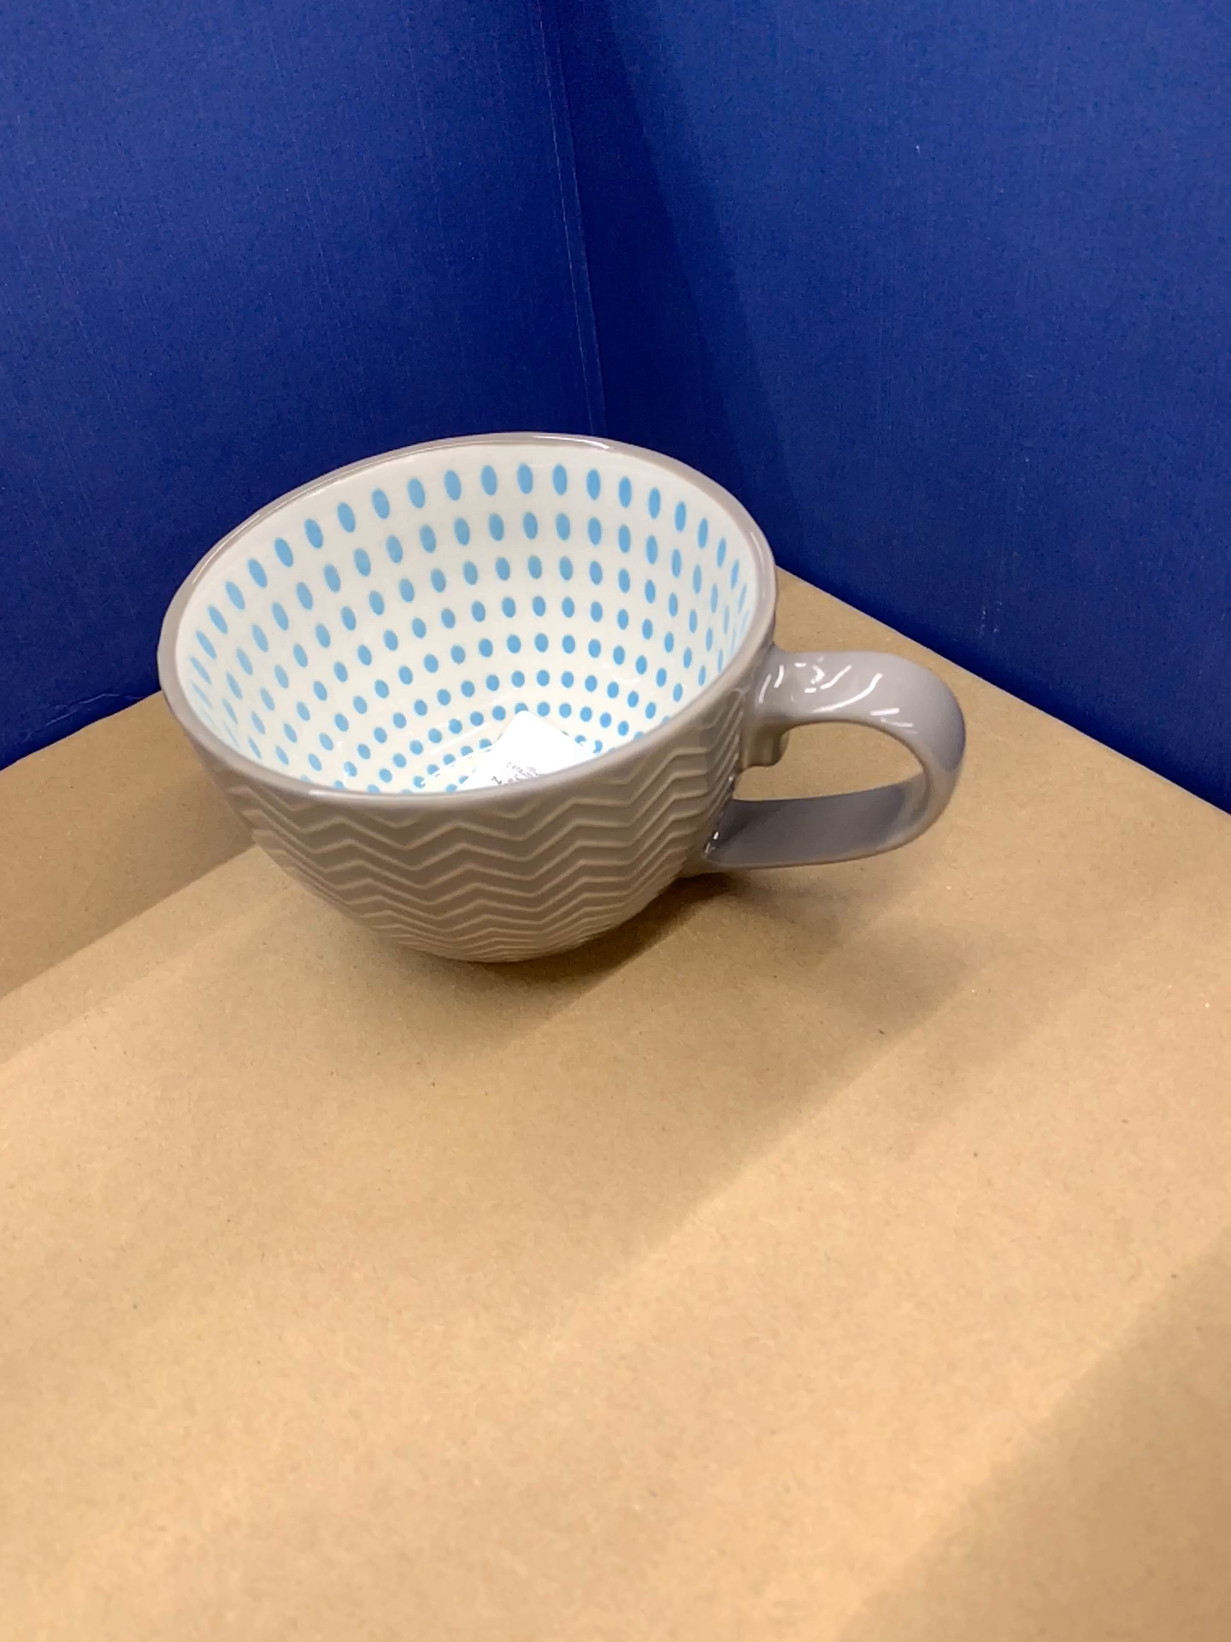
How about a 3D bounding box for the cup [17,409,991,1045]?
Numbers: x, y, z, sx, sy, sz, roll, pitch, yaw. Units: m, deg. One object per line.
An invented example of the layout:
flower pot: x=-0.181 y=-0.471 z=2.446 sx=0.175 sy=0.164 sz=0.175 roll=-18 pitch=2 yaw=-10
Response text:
cup: x=-0.009 y=-0.027 z=0.244 sx=0.150 sy=0.058 sz=0.109 roll=4 pitch=44 yaw=13
